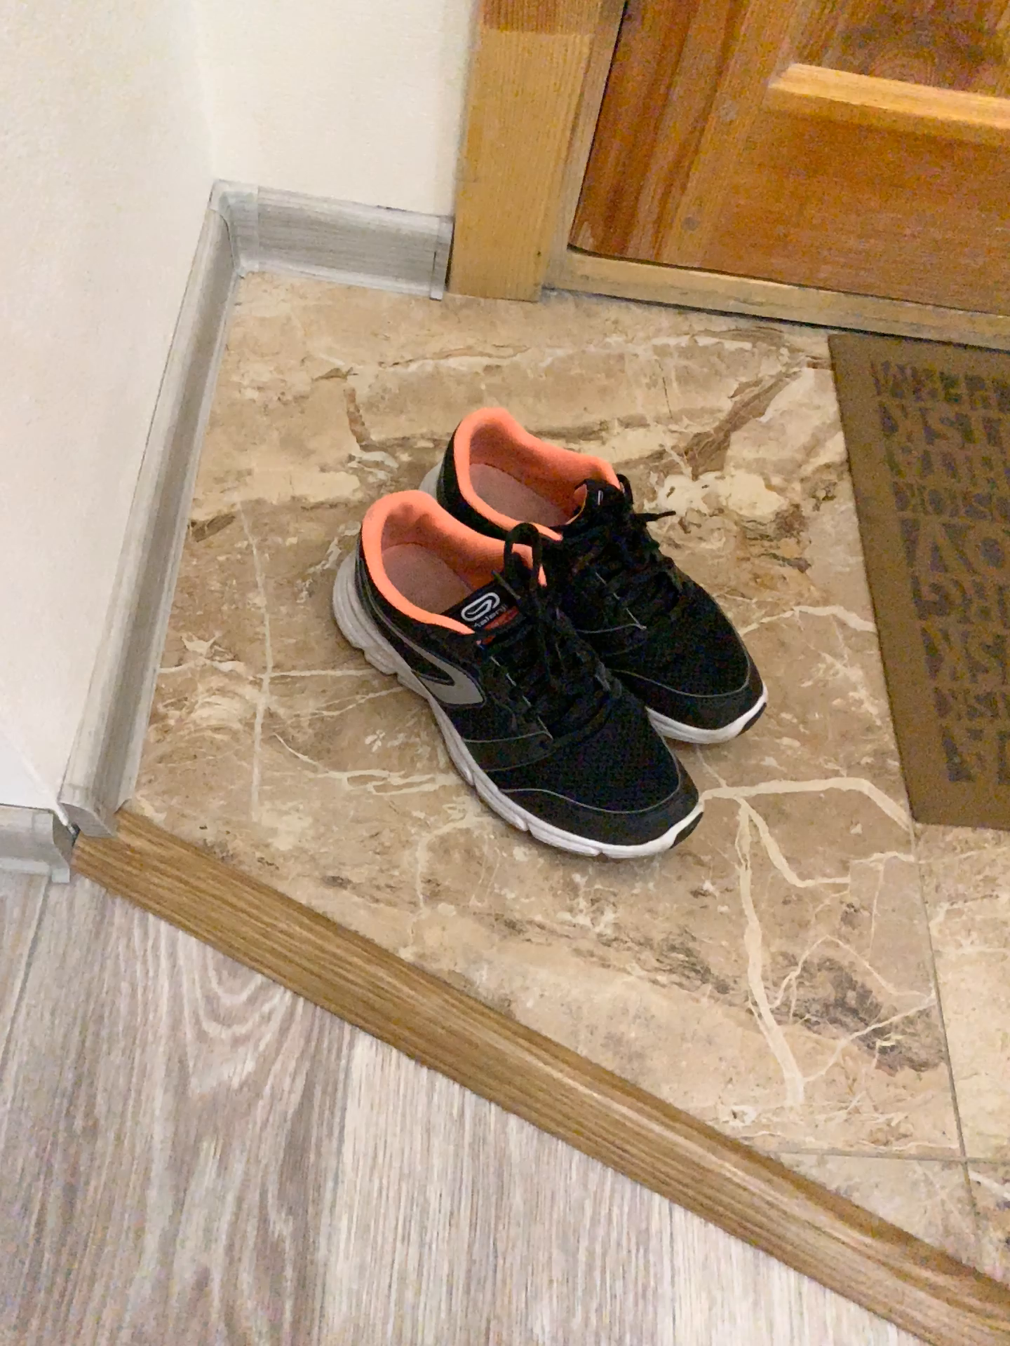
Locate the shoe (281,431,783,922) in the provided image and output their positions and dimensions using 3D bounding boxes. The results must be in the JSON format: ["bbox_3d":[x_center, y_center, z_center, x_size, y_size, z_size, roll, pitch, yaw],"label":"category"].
[{"bbox_3d":[0.005,0.000,0.562,0.250,0.100,0.100,40,63,13],"label":"shoe"}]

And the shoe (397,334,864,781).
[{"bbox_3d":[0.063,-0.069,0.605,0.244,0.100,0.100,40,63,13],"label":"shoe"}]
